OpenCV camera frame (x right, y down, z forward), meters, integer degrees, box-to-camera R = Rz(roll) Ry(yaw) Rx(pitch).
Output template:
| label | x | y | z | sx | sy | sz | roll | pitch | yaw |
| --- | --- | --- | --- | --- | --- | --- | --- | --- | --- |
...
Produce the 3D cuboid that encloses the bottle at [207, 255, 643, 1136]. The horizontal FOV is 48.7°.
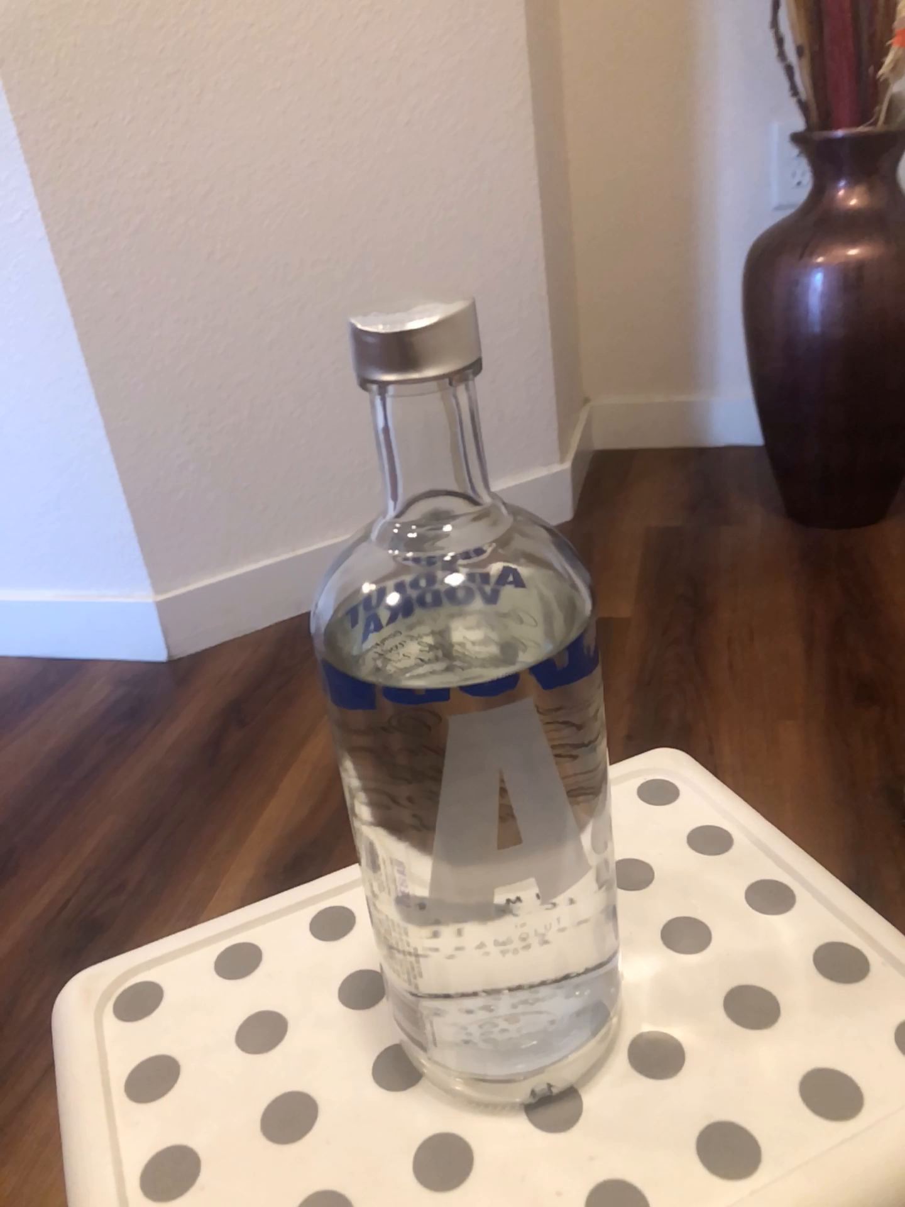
| label | x | y | z | sx | sy | sz | roll | pitch | yaw |
| --- | --- | --- | --- | --- | --- | --- | --- | --- | --- |
| bottle | 0.004 | 0.037 | 0.330 | 0.090 | 0.269 | 0.101 | -6 | 26 | 3 |
